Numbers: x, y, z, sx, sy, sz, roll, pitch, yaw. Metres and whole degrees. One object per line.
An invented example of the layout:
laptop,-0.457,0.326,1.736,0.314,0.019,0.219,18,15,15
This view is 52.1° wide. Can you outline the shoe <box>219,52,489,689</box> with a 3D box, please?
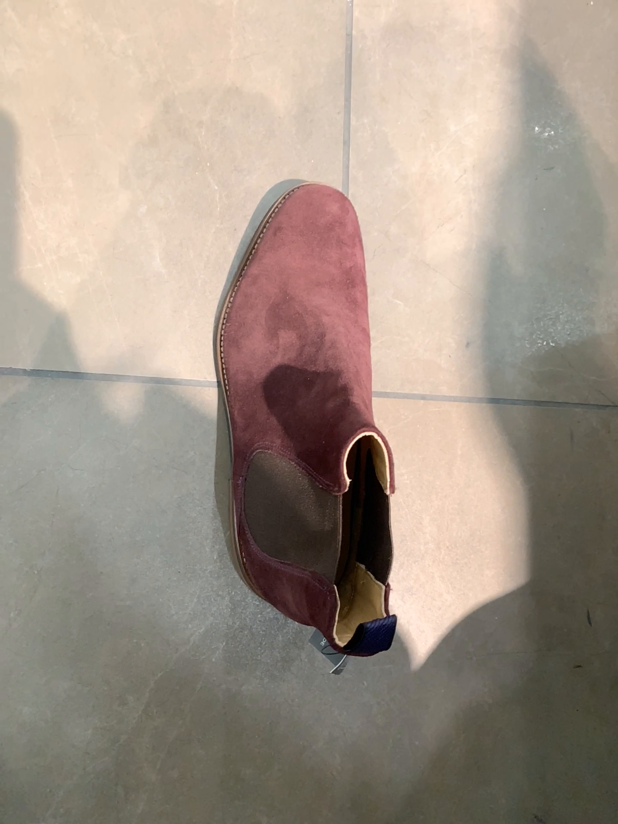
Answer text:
shoe,0.012,-0.018,0.385,0.114,0.162,0.297,1,85,-14
